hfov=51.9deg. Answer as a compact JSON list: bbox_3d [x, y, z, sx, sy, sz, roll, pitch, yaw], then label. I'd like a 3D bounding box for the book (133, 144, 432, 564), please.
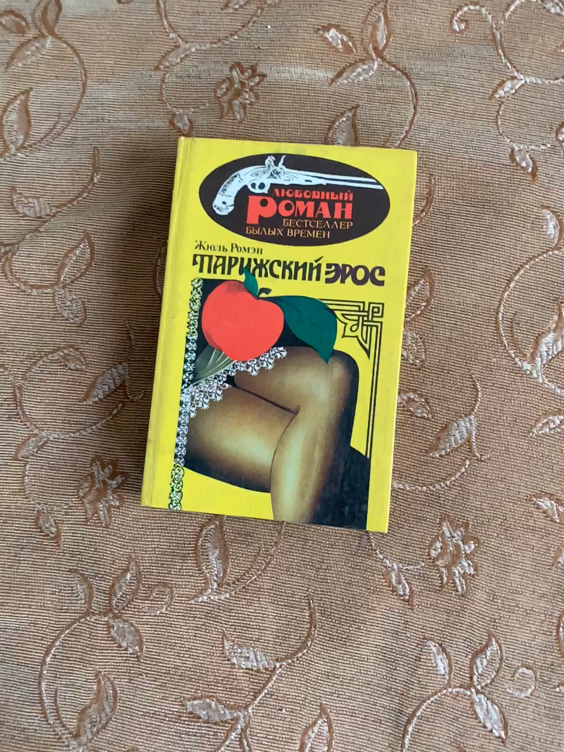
[{"bbox_3d":[0.002,-0.013,0.303,0.130,0.040,0.196,5,87,4],"label":"book"}]
